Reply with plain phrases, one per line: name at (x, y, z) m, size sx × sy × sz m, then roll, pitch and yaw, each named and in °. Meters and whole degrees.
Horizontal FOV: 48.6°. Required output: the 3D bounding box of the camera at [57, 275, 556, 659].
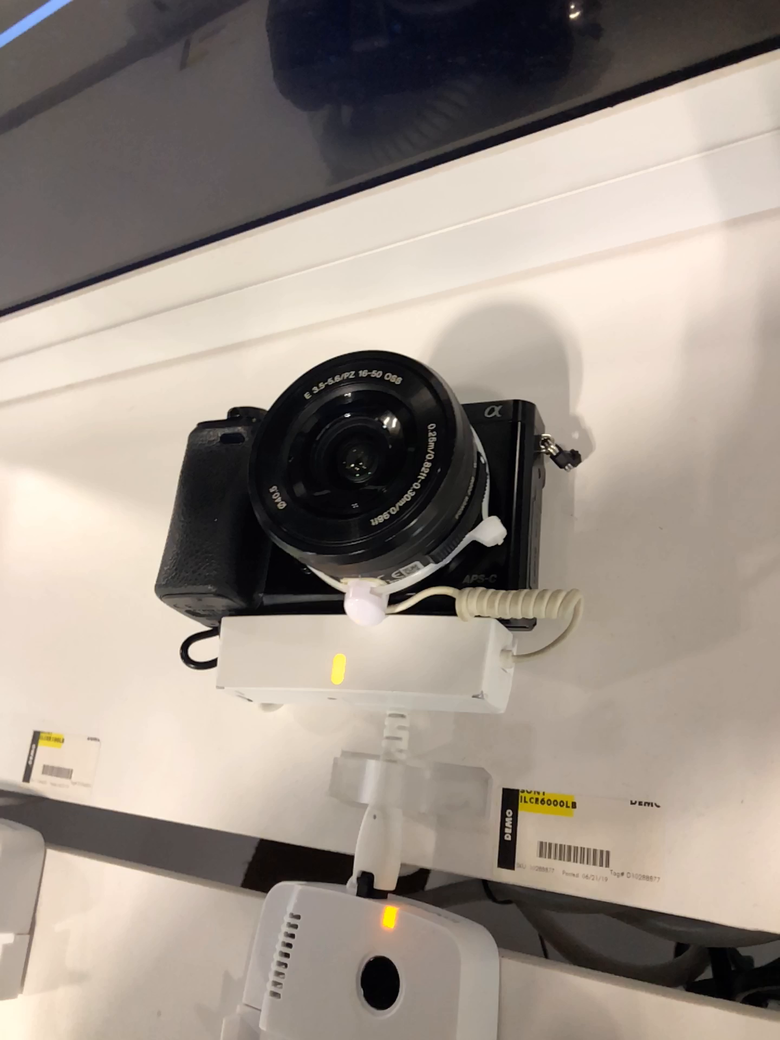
camera at (-0.022, -0.009, 0.276) m, size 0.130 × 0.070 × 0.090 m, roll -2°, pitch 70°, yaw 26°
